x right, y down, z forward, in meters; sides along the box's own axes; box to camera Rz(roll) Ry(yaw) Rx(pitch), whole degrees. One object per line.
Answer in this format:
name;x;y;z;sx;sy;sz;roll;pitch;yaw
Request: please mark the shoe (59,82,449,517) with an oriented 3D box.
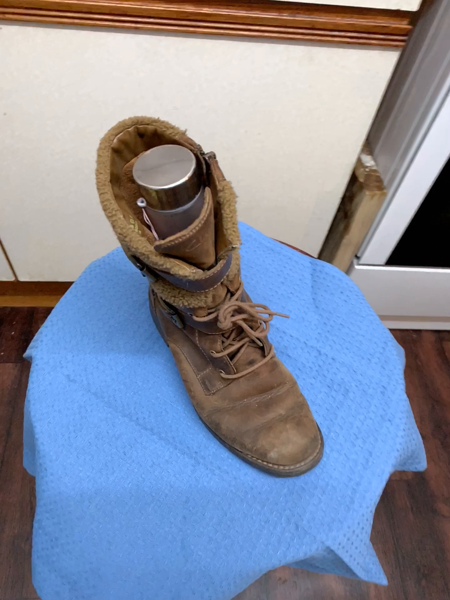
shoe;0.002;0.012;0.376;0.120;0.228;0.251;-27;62;-14
